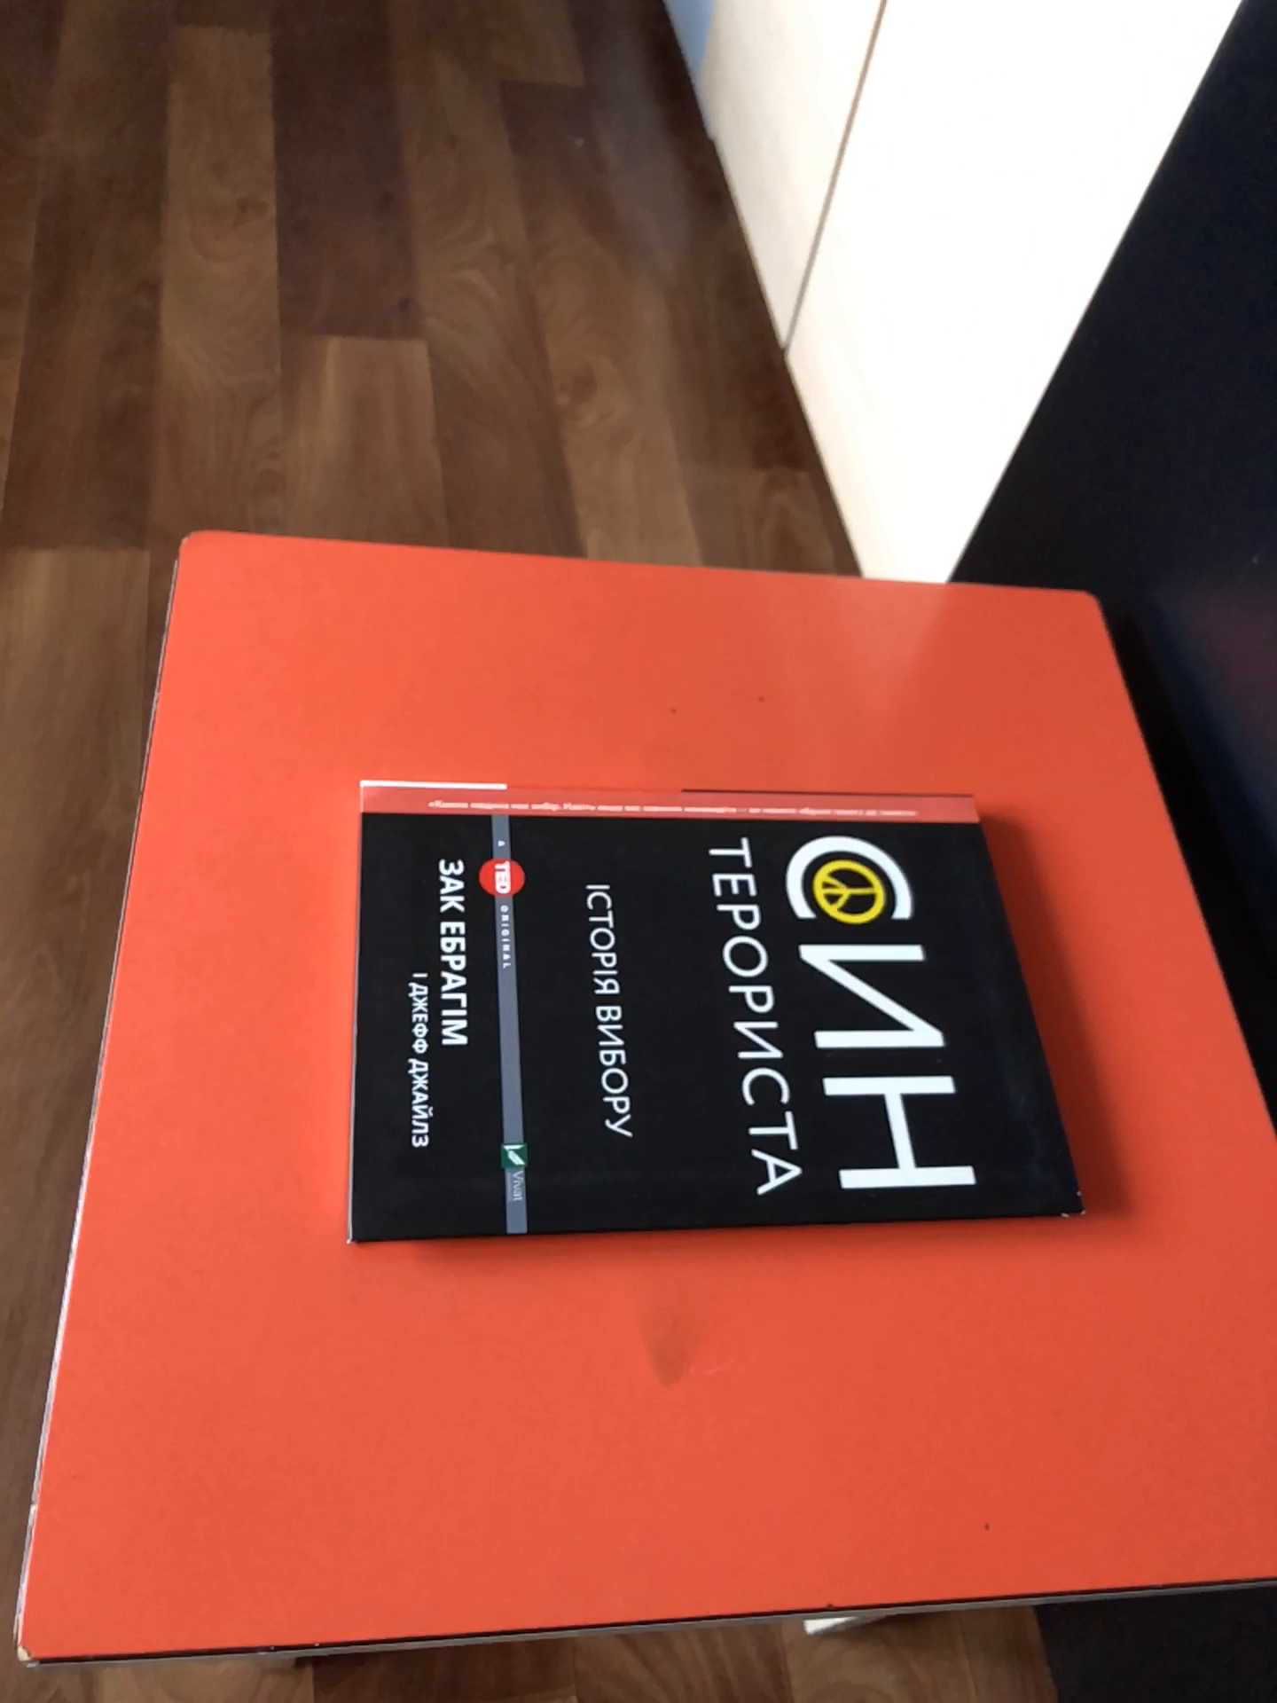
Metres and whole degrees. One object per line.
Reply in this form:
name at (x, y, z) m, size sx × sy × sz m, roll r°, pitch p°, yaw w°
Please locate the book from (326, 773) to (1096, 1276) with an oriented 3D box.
book at (0.017, 0.045, 0.414) m, size 0.205 × 0.013 × 0.150 m, roll 1°, pitch 56°, yaw -10°
